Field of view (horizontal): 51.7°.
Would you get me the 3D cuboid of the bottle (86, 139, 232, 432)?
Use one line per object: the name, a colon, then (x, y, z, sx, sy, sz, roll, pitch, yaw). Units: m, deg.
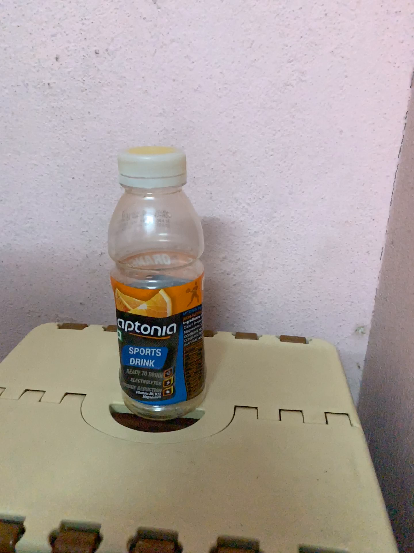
bottle: (-0.024, 0.007, 0.282, 0.070, 0.179, 0.060, 4, 24, 9)
